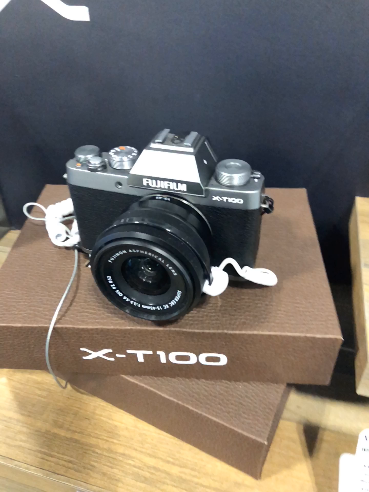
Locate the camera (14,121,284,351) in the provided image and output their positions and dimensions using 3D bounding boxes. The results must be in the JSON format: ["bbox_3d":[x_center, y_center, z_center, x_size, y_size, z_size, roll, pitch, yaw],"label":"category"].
[{"bbox_3d":[-0.012,-0.014,0.264,0.130,0.089,0.101,9,37,14],"label":"camera"}]
